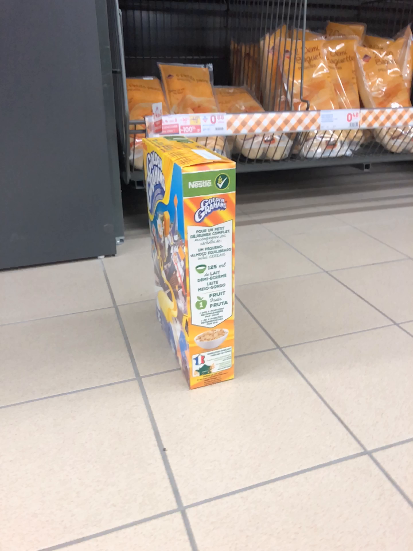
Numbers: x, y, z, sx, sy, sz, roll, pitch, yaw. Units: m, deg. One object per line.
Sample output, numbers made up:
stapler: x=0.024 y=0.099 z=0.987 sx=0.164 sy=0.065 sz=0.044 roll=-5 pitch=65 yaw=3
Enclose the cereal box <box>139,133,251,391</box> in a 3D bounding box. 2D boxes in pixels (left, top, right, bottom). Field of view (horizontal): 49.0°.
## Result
cereal box: x=-0.024 y=-0.028 z=0.584 sx=0.070 sy=0.269 sz=0.201 roll=-8 pitch=26 yaw=-18
